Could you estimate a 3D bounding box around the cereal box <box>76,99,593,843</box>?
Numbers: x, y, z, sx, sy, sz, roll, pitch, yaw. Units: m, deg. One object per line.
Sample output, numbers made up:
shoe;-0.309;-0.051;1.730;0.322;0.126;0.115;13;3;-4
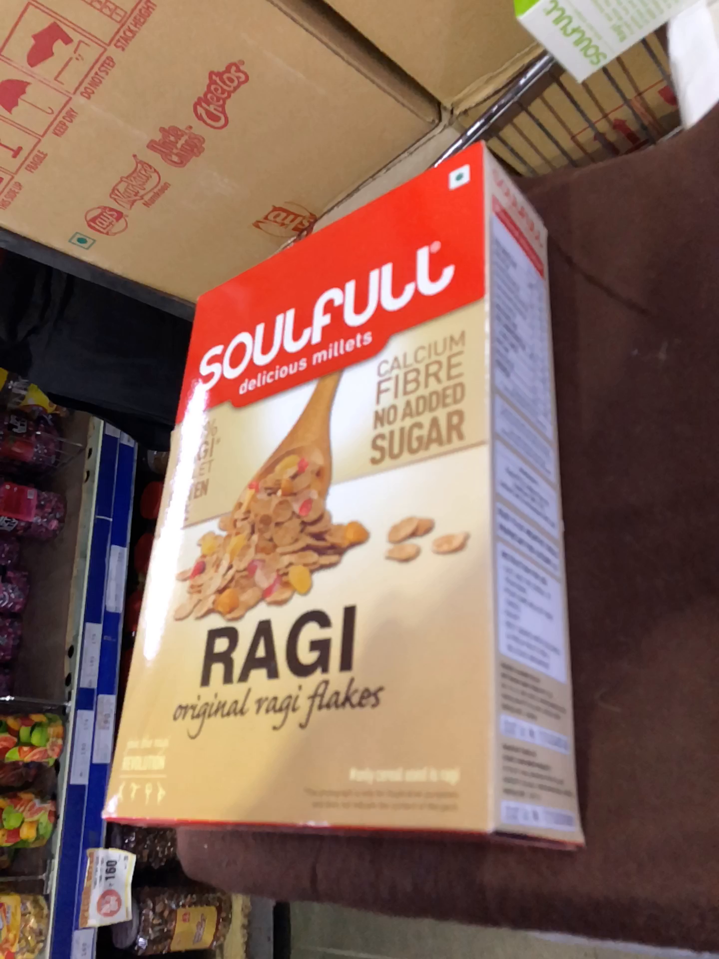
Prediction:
cereal box;-0.013;0.001;0.300;0.171;0.050;0.241;-16;60;35
